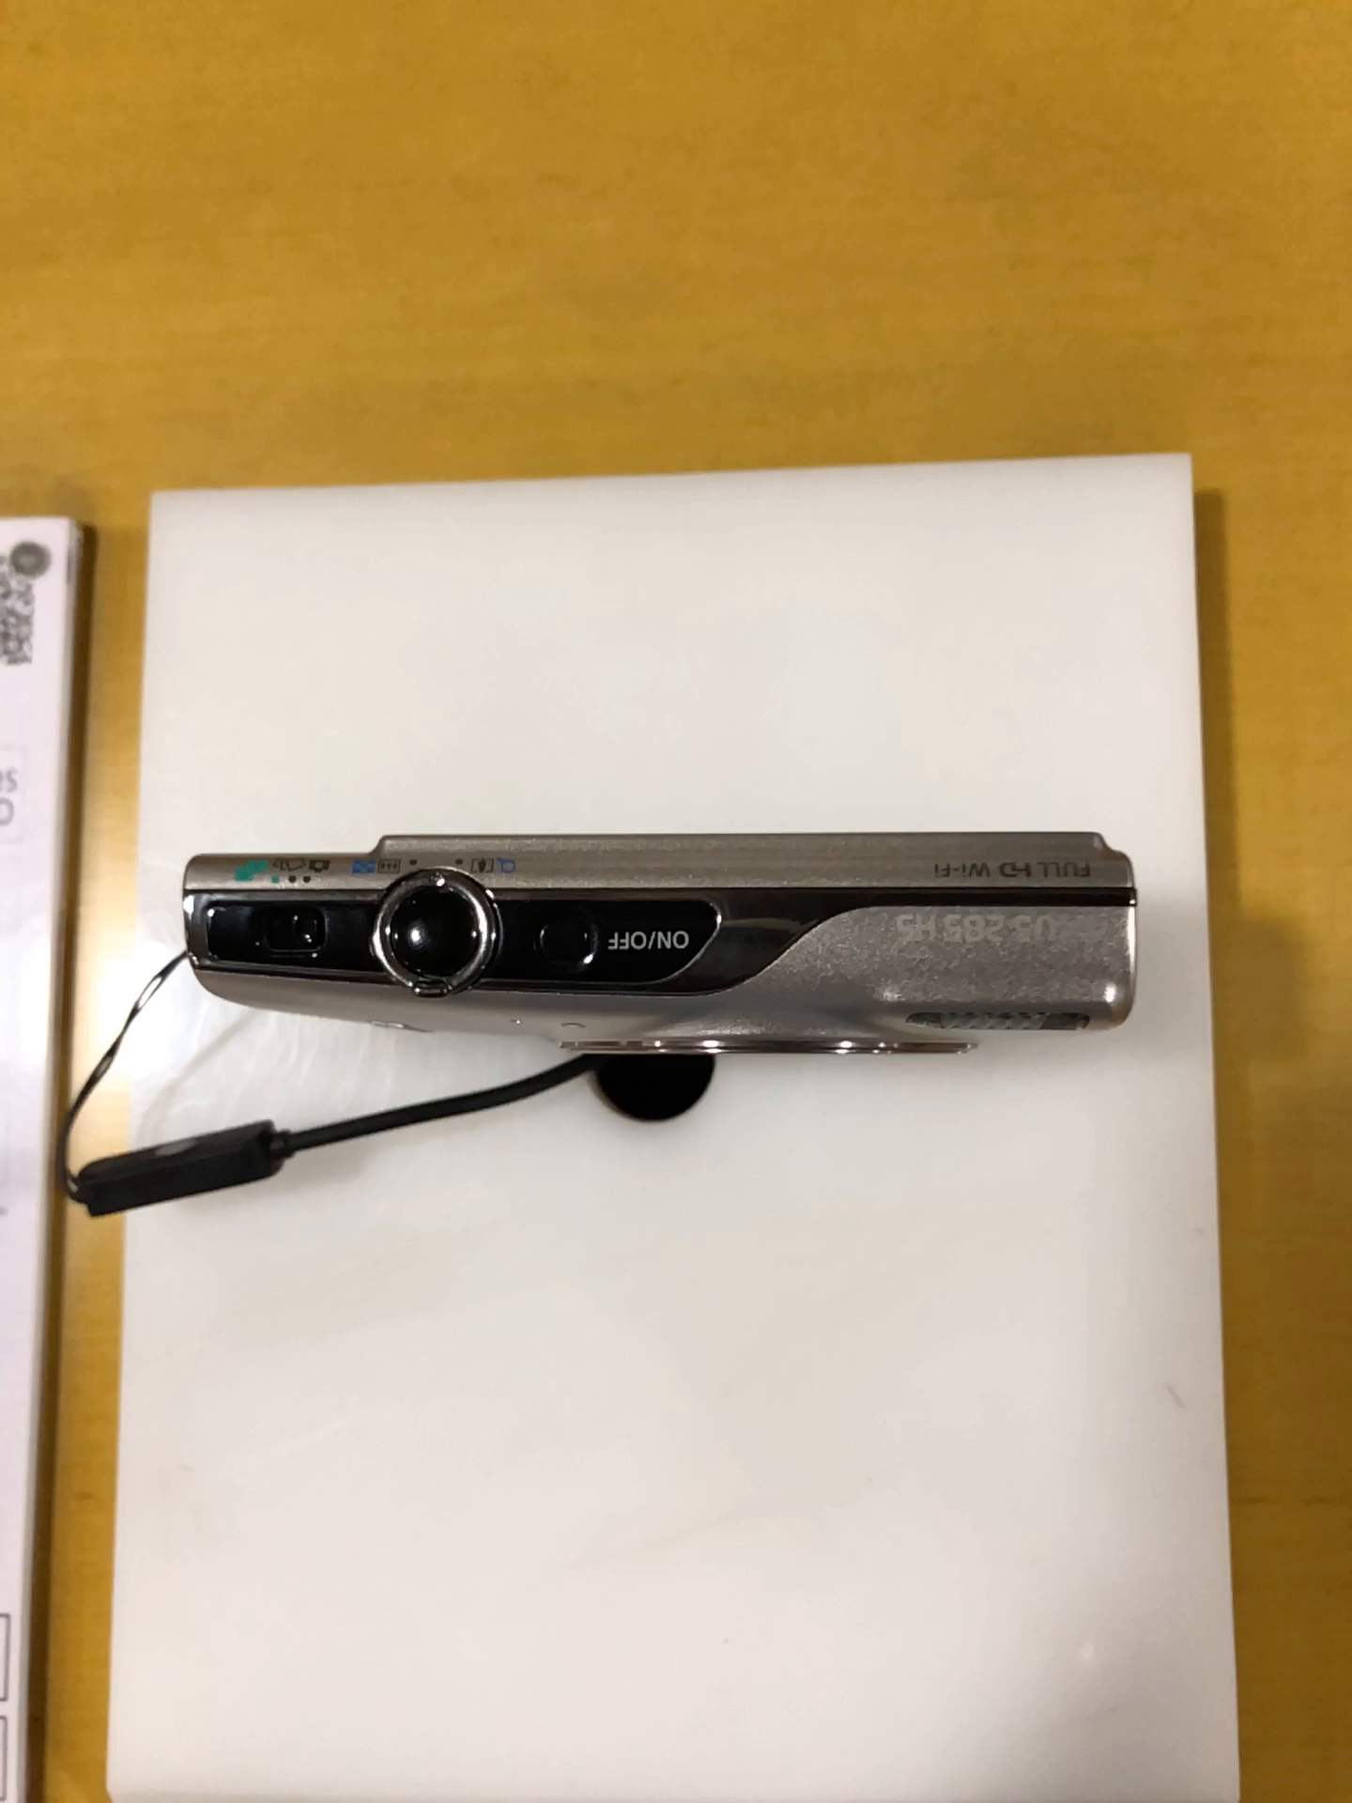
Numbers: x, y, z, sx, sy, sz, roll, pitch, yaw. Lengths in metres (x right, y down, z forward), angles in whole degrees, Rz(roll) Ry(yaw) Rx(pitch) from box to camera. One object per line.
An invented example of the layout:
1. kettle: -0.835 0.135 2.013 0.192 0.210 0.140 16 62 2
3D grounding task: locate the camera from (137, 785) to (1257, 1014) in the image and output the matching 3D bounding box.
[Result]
1. camera: 0.003 0.002 0.181 0.110 0.060 0.020 -1 84 4
